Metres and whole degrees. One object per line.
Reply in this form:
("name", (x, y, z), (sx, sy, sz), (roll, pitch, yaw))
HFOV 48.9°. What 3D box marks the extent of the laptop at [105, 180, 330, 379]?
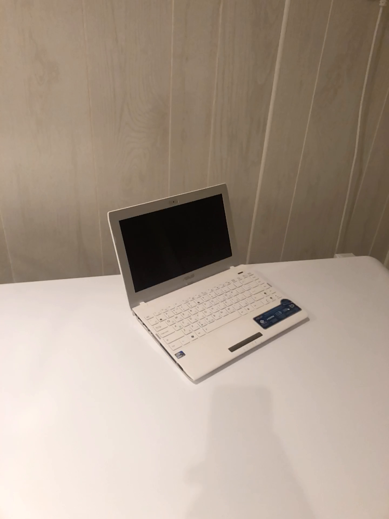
("laptop", (0.033, 0.010, 0.823), (0.289, 0.168, 0.292), (-20, 42, -33))
